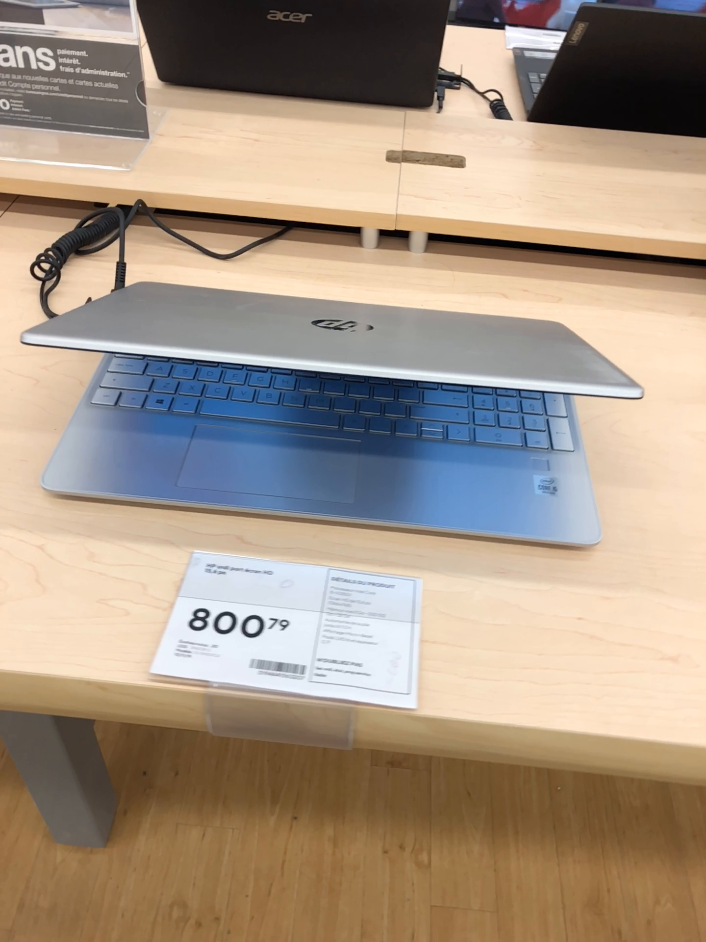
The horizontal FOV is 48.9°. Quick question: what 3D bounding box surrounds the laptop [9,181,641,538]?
[{"bbox_3d":[-0.008,-0.086,0.524,0.340,0.086,0.225,6,46,0],"label":"laptop"}]
